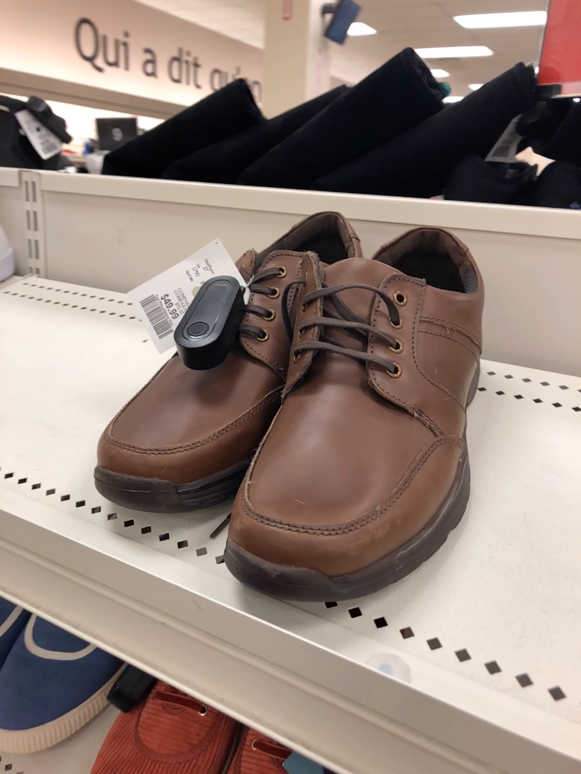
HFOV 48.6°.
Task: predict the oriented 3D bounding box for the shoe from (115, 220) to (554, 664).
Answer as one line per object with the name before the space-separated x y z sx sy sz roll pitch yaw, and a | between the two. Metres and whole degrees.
shoe | 0.063 -0.019 0.375 0.120 0.109 0.342 11 24 24

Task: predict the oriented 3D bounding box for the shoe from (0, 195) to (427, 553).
shoe | -0.023 -0.047 0.427 0.120 0.109 0.332 12 27 26
